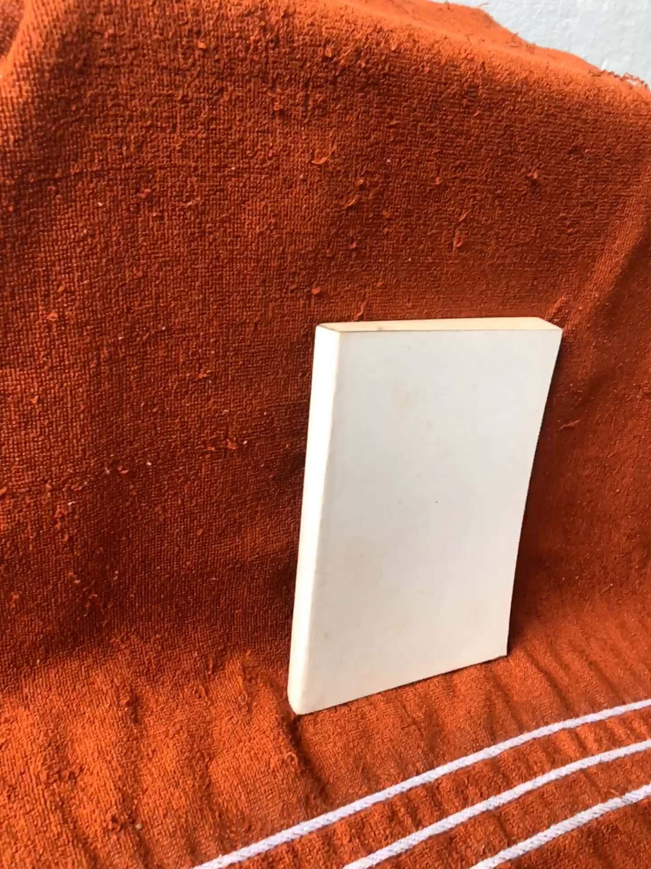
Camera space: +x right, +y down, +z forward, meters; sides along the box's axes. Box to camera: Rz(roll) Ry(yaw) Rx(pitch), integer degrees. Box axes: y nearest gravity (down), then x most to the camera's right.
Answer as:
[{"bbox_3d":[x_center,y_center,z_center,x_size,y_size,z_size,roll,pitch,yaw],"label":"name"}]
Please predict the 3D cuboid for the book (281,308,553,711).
[{"bbox_3d":[0.052,0.034,0.398,0.151,0.200,0.030,-4,11,-30],"label":"book"}]
